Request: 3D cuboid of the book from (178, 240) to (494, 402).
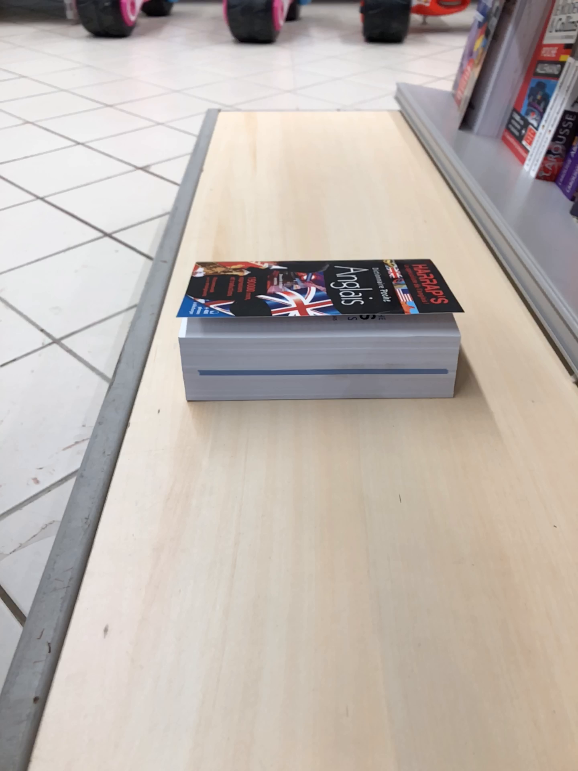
[{"bbox_3d":[0.027,-0.047,0.430,0.181,0.057,0.116,0,36,-1],"label":"book"}]
